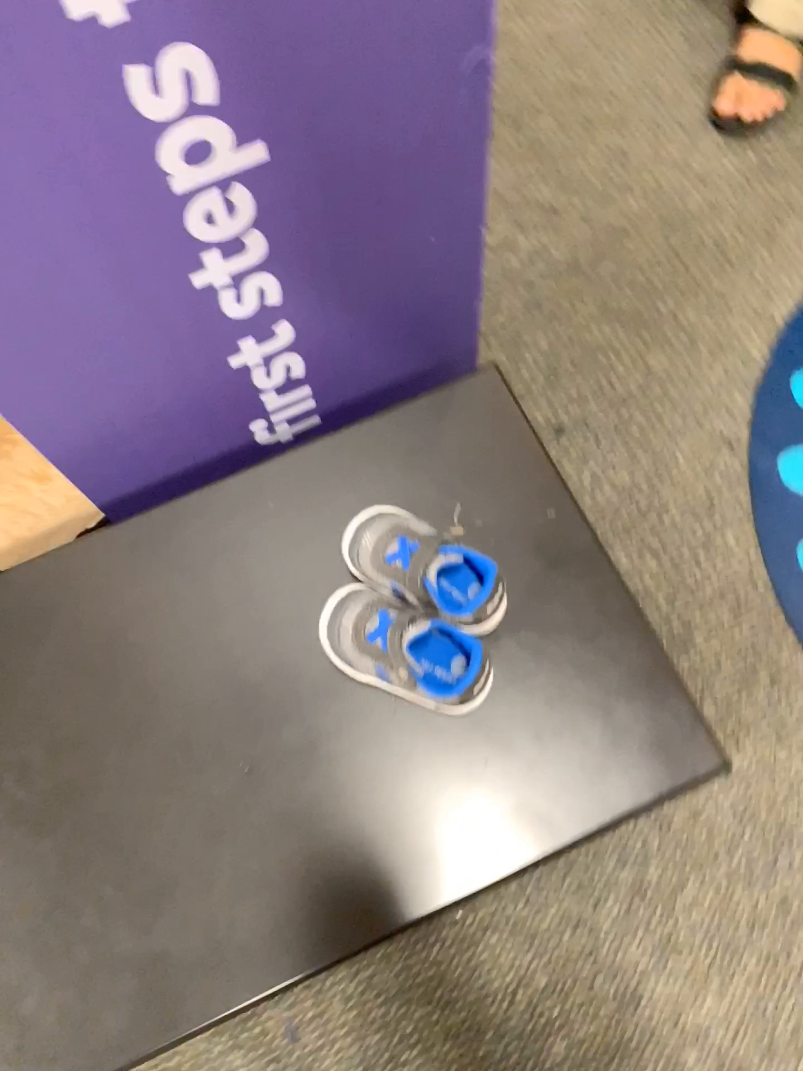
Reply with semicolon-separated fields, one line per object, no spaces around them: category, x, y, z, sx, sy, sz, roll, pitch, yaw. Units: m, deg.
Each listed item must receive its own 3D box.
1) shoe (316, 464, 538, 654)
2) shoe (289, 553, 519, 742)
shoe;0.019;0.018;0.610;0.140;0.060;0.070;27;73;13
shoe;0.003;0.081;0.591;0.140;0.060;0.070;24;73;12
